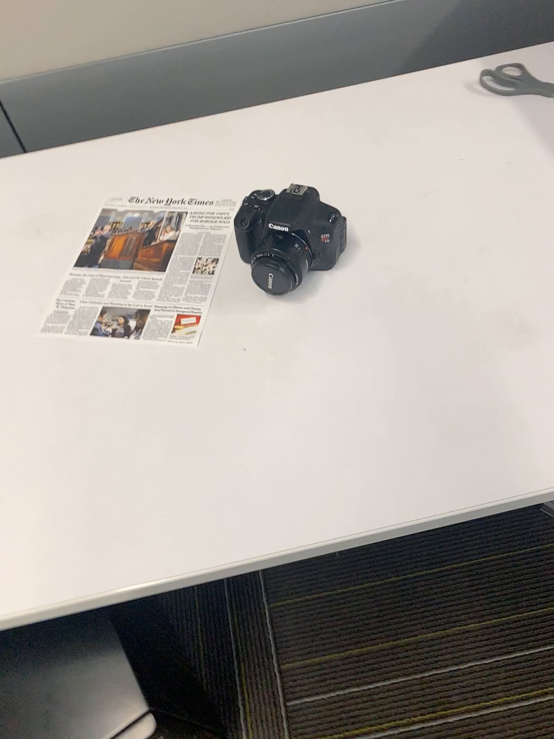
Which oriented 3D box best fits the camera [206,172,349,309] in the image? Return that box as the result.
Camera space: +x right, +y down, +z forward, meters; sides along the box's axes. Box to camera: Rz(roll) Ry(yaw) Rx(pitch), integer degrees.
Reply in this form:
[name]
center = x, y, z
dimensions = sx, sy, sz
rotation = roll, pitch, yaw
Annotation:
[camera]
center = 0.007, -0.163, 0.703
dimensions = 0.136, 0.090, 0.119
rotation = 15, 57, 17
